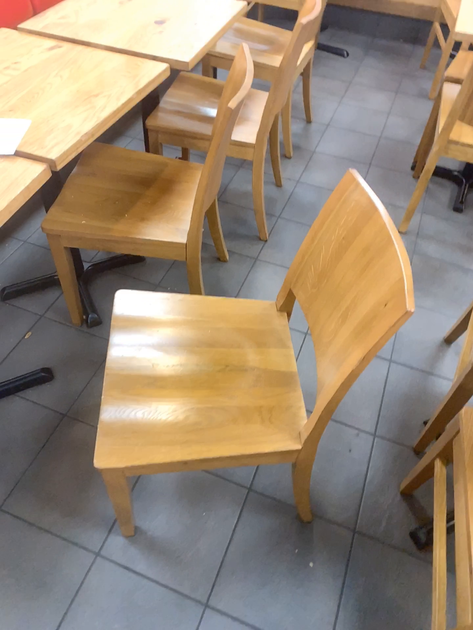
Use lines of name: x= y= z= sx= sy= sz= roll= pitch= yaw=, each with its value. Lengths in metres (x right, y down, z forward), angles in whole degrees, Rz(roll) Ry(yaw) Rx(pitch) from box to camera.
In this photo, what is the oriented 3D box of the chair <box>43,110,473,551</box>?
chair: x=0.002 y=0.113 z=1.093 sx=0.610 sy=0.891 sz=0.515 roll=1 pitch=49 yaw=-9
